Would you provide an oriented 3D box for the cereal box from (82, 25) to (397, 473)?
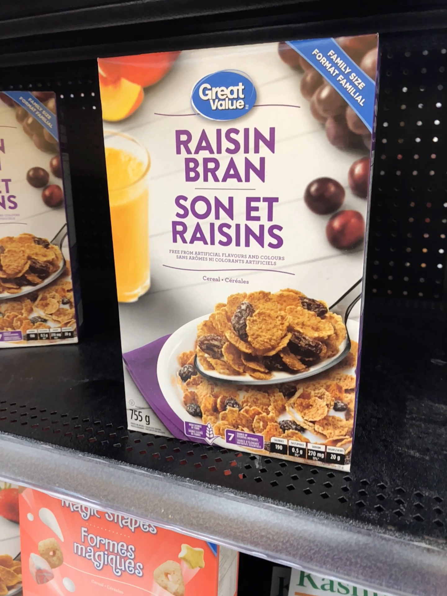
[{"bbox_3d":[0.012,-0.032,0.392,0.210,0.299,0.070,5,18,18],"label":"cereal box"}]
